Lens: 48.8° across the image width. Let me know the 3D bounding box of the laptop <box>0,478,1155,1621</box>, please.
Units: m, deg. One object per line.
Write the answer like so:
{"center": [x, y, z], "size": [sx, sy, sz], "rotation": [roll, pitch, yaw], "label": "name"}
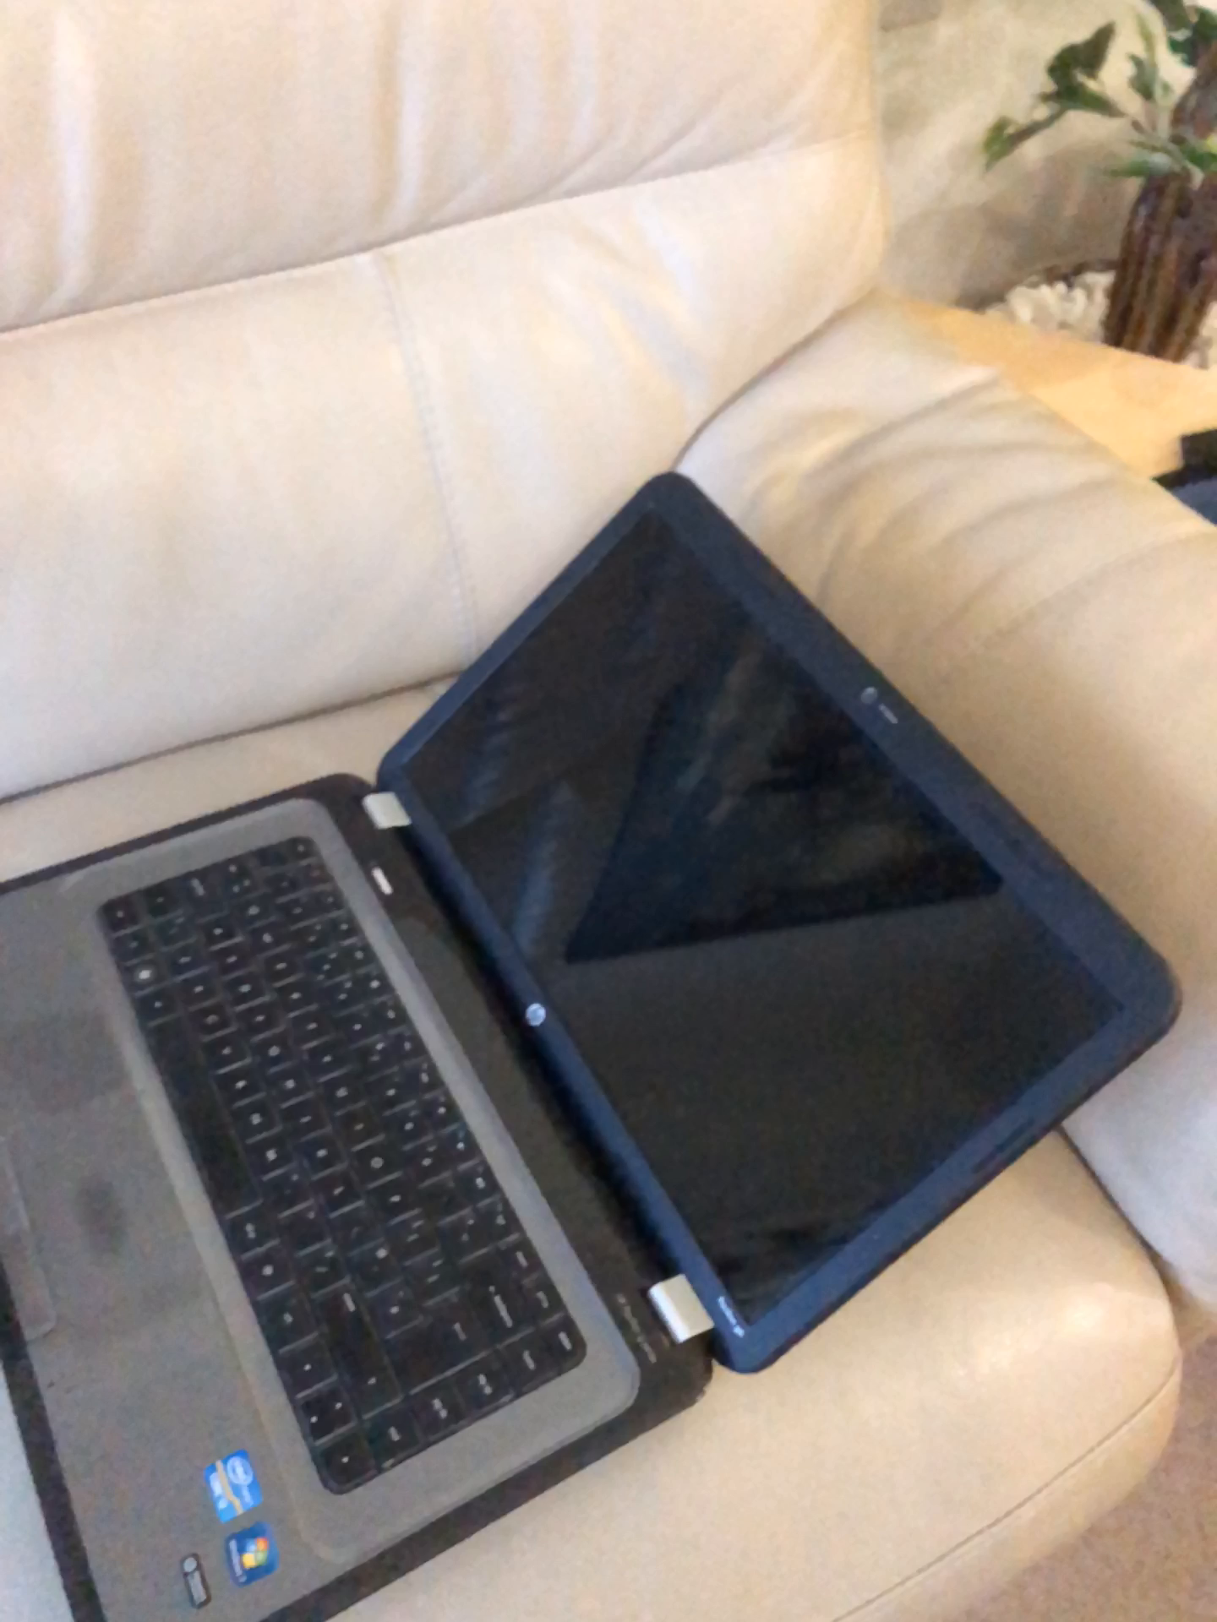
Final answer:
{"center": [-0.065, 0.066, 0.575], "size": [0.424, 0.115, 0.359], "rotation": [-23, 57, -20], "label": "laptop"}
